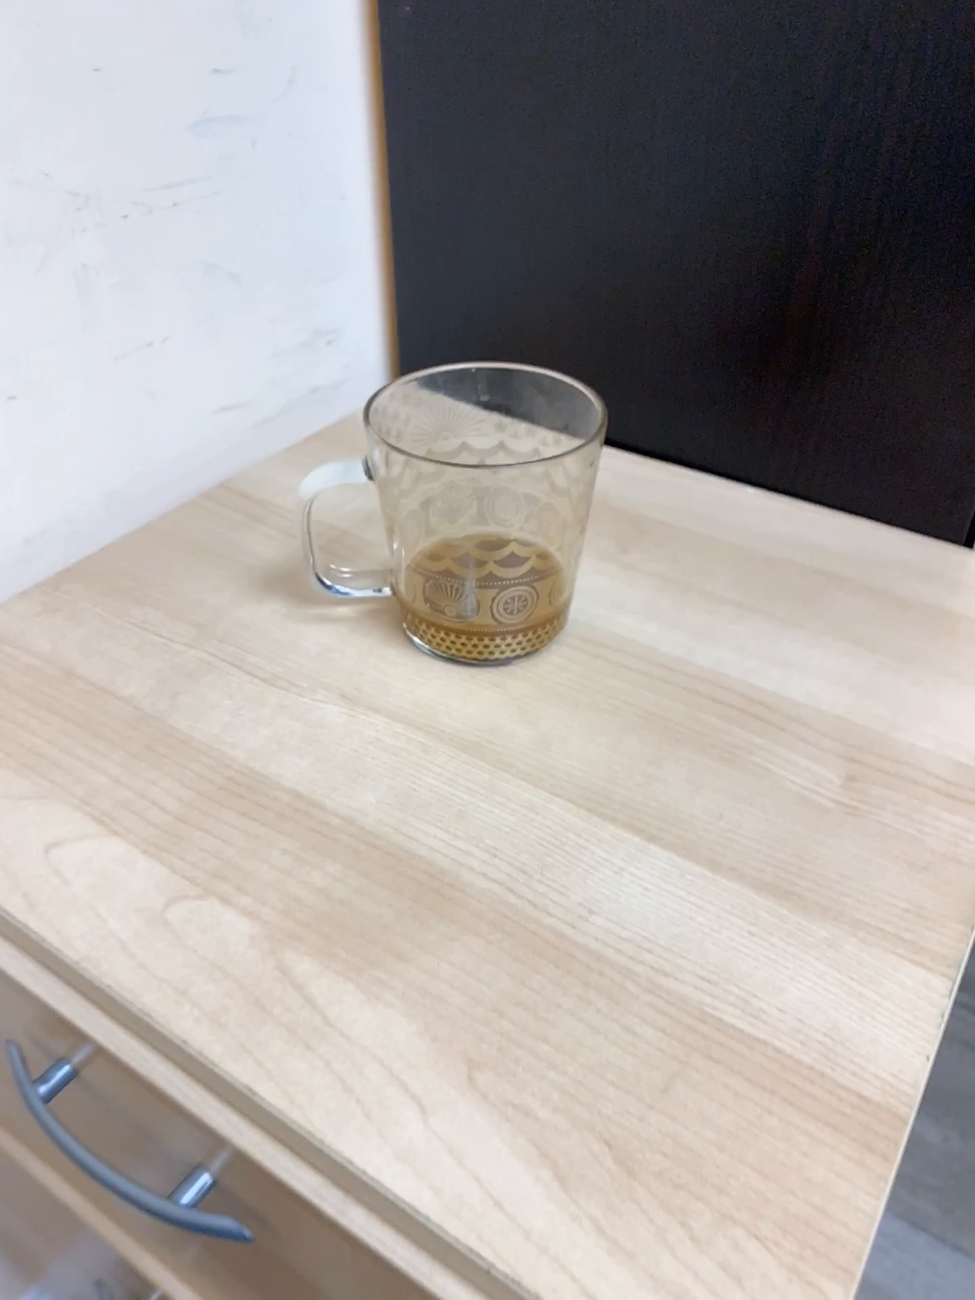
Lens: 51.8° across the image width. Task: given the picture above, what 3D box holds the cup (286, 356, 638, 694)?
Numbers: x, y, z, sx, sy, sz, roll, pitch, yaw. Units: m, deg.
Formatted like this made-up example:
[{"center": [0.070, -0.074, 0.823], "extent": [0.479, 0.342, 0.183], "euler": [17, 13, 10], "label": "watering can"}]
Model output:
[{"center": [-0.013, -0.055, 0.422], "extent": [0.124, 0.098, 0.099], "euler": [-4, 36, -5], "label": "cup"}]
